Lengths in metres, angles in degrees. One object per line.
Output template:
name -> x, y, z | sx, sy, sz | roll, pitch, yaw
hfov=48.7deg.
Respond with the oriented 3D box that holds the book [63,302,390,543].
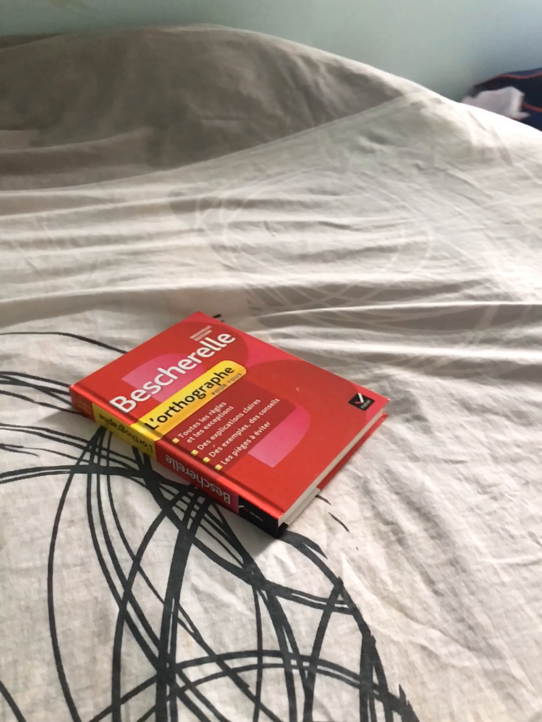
book -> -0.032, 0.029, 0.443 | 0.189, 0.023, 0.143 | 26, 44, 26
